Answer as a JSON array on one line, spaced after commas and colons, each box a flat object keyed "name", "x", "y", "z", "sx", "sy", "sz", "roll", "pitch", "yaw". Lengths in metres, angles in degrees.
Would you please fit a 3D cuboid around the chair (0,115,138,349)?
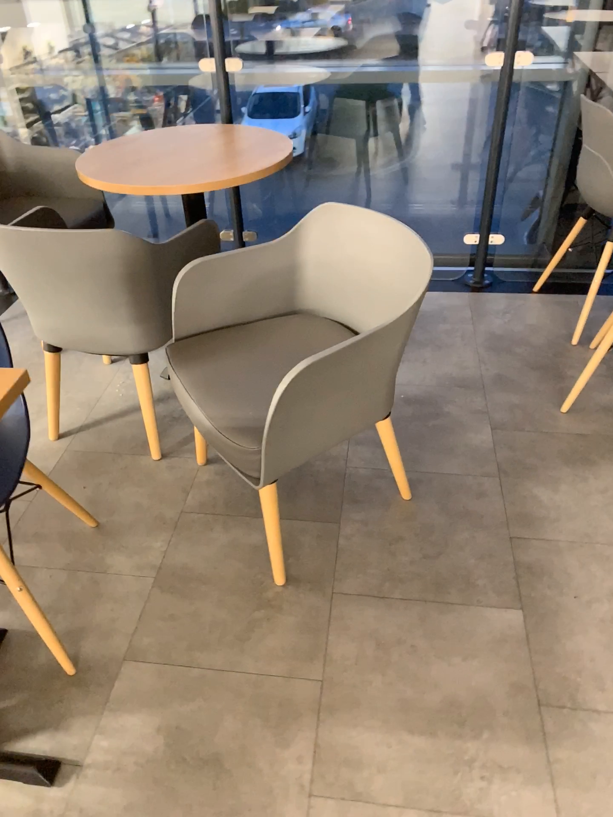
[{"name": "chair", "x": -1.098, "y": -0.691, "z": 2.417, "sx": 0.580, "sy": 0.724, "sz": 0.488, "roll": 6, "pitch": 37, "yaw": 11}]

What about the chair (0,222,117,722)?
[{"name": "chair", "x": -0.716, "y": 0.123, "z": 1.245, "sx": 0.473, "sy": 0.784, "sz": 0.515, "roll": -8, "pitch": 36, "yaw": -8}]

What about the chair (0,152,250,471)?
[{"name": "chair", "x": -0.543, "y": -0.307, "z": 1.881, "sx": 0.514, "sy": 0.724, "sz": 0.544, "roll": 9, "pitch": 39, "yaw": 15}]

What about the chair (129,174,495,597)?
[{"name": "chair", "x": 0.000, "y": -0.089, "z": 1.546, "sx": 0.581, "sy": 0.734, "sz": 0.548, "roll": -21, "pitch": 40, "yaw": -24}]
